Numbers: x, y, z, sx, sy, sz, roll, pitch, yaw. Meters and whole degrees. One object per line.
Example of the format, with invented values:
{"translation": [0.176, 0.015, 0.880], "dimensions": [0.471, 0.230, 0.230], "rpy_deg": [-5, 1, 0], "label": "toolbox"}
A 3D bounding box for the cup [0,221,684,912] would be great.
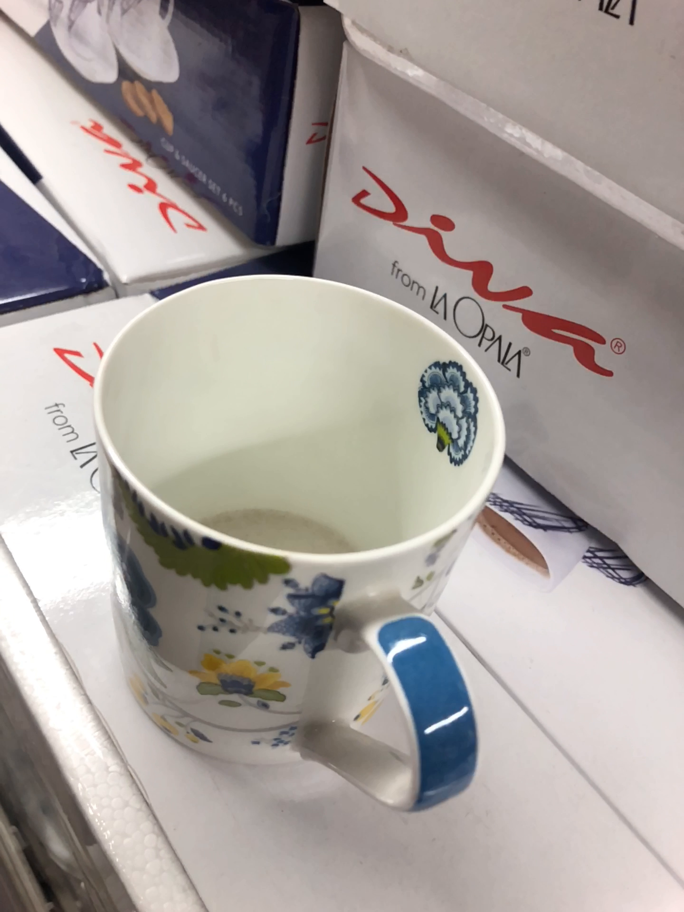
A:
{"translation": [-0.009, 0.023, 0.157], "dimensions": [0.080, 0.080, 0.110], "rpy_deg": [-21, 55, -28], "label": "cup"}
